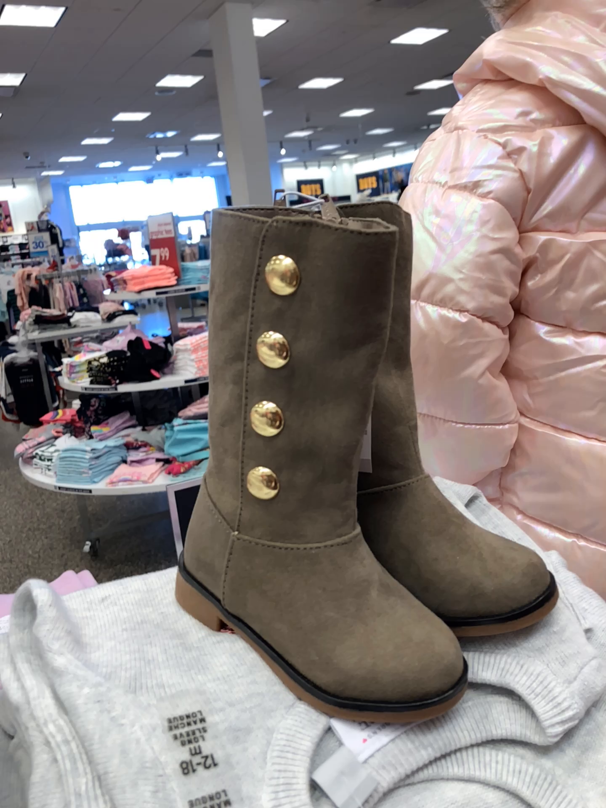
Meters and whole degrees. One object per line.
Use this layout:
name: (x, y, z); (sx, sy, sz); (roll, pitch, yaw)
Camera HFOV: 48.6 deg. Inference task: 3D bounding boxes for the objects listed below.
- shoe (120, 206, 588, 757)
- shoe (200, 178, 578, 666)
shoe: (0.008, 0.014, 0.268); (0.155, 0.164, 0.070); (18, 25, 35)
shoe: (0.041, 0.000, 0.316); (0.148, 0.184, 0.070); (5, 17, 39)
